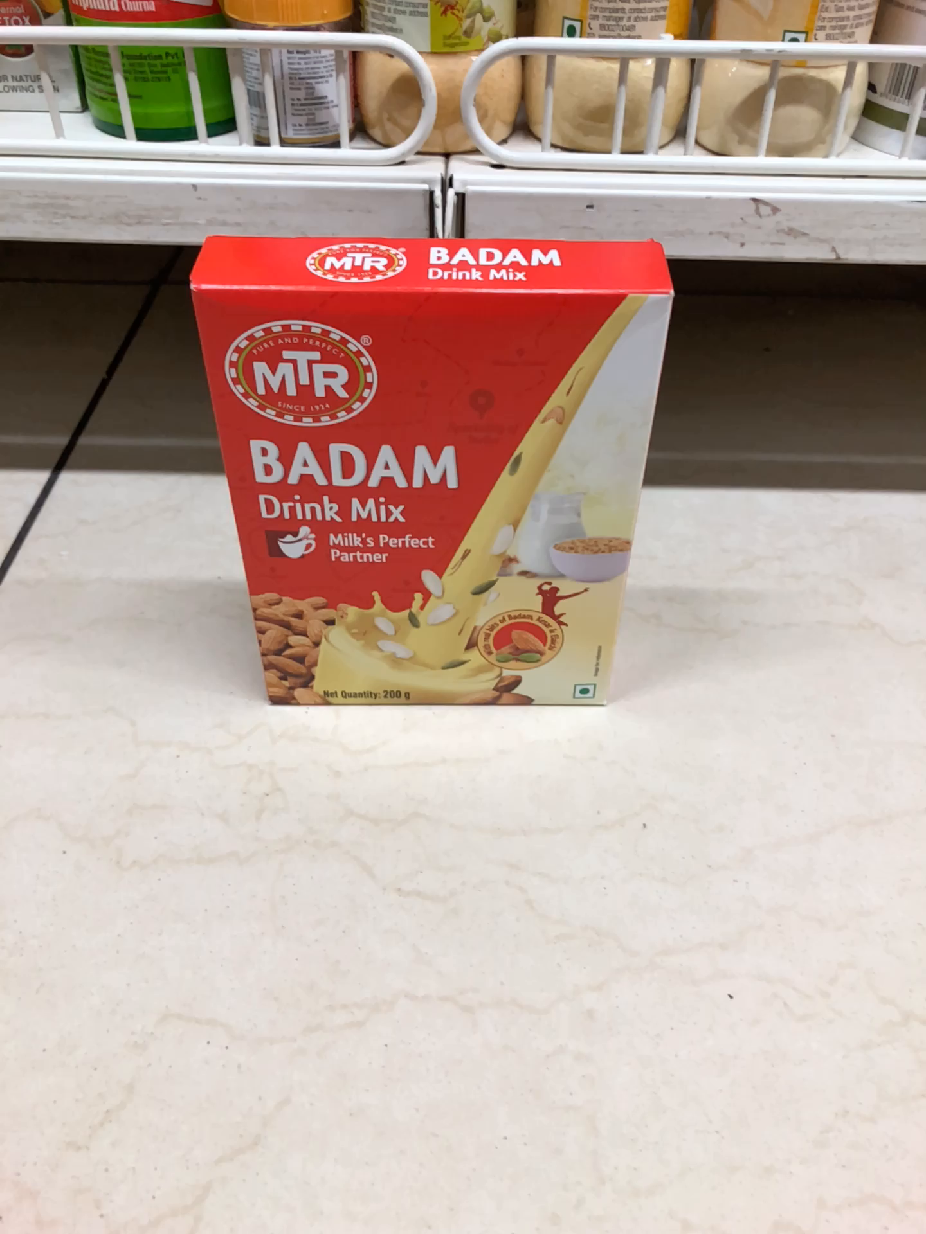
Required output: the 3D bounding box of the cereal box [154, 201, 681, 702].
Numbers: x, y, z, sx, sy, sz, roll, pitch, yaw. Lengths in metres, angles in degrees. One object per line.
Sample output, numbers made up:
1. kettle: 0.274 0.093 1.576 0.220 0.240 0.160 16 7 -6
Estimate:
1. cereal box: -0.012 -0.042 0.322 0.130 0.159 0.040 0 43 -2
